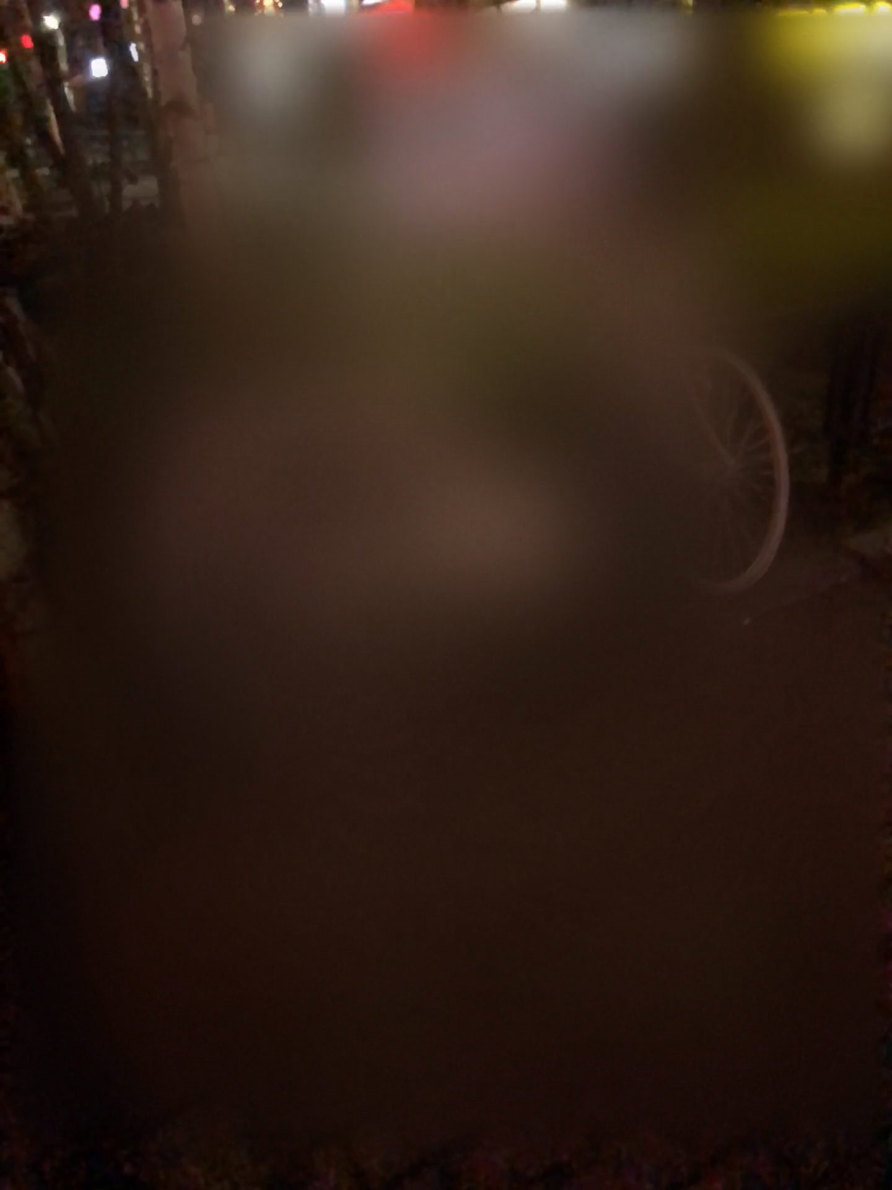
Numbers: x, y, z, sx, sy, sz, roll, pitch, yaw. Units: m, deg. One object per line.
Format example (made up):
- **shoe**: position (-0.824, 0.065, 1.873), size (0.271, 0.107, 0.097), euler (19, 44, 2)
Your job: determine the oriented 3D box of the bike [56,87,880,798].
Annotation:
- **bike**: position (0.134, -0.508, 2.412), size (1.832, 1.119, 0.608), euler (-21, 32, -26)
